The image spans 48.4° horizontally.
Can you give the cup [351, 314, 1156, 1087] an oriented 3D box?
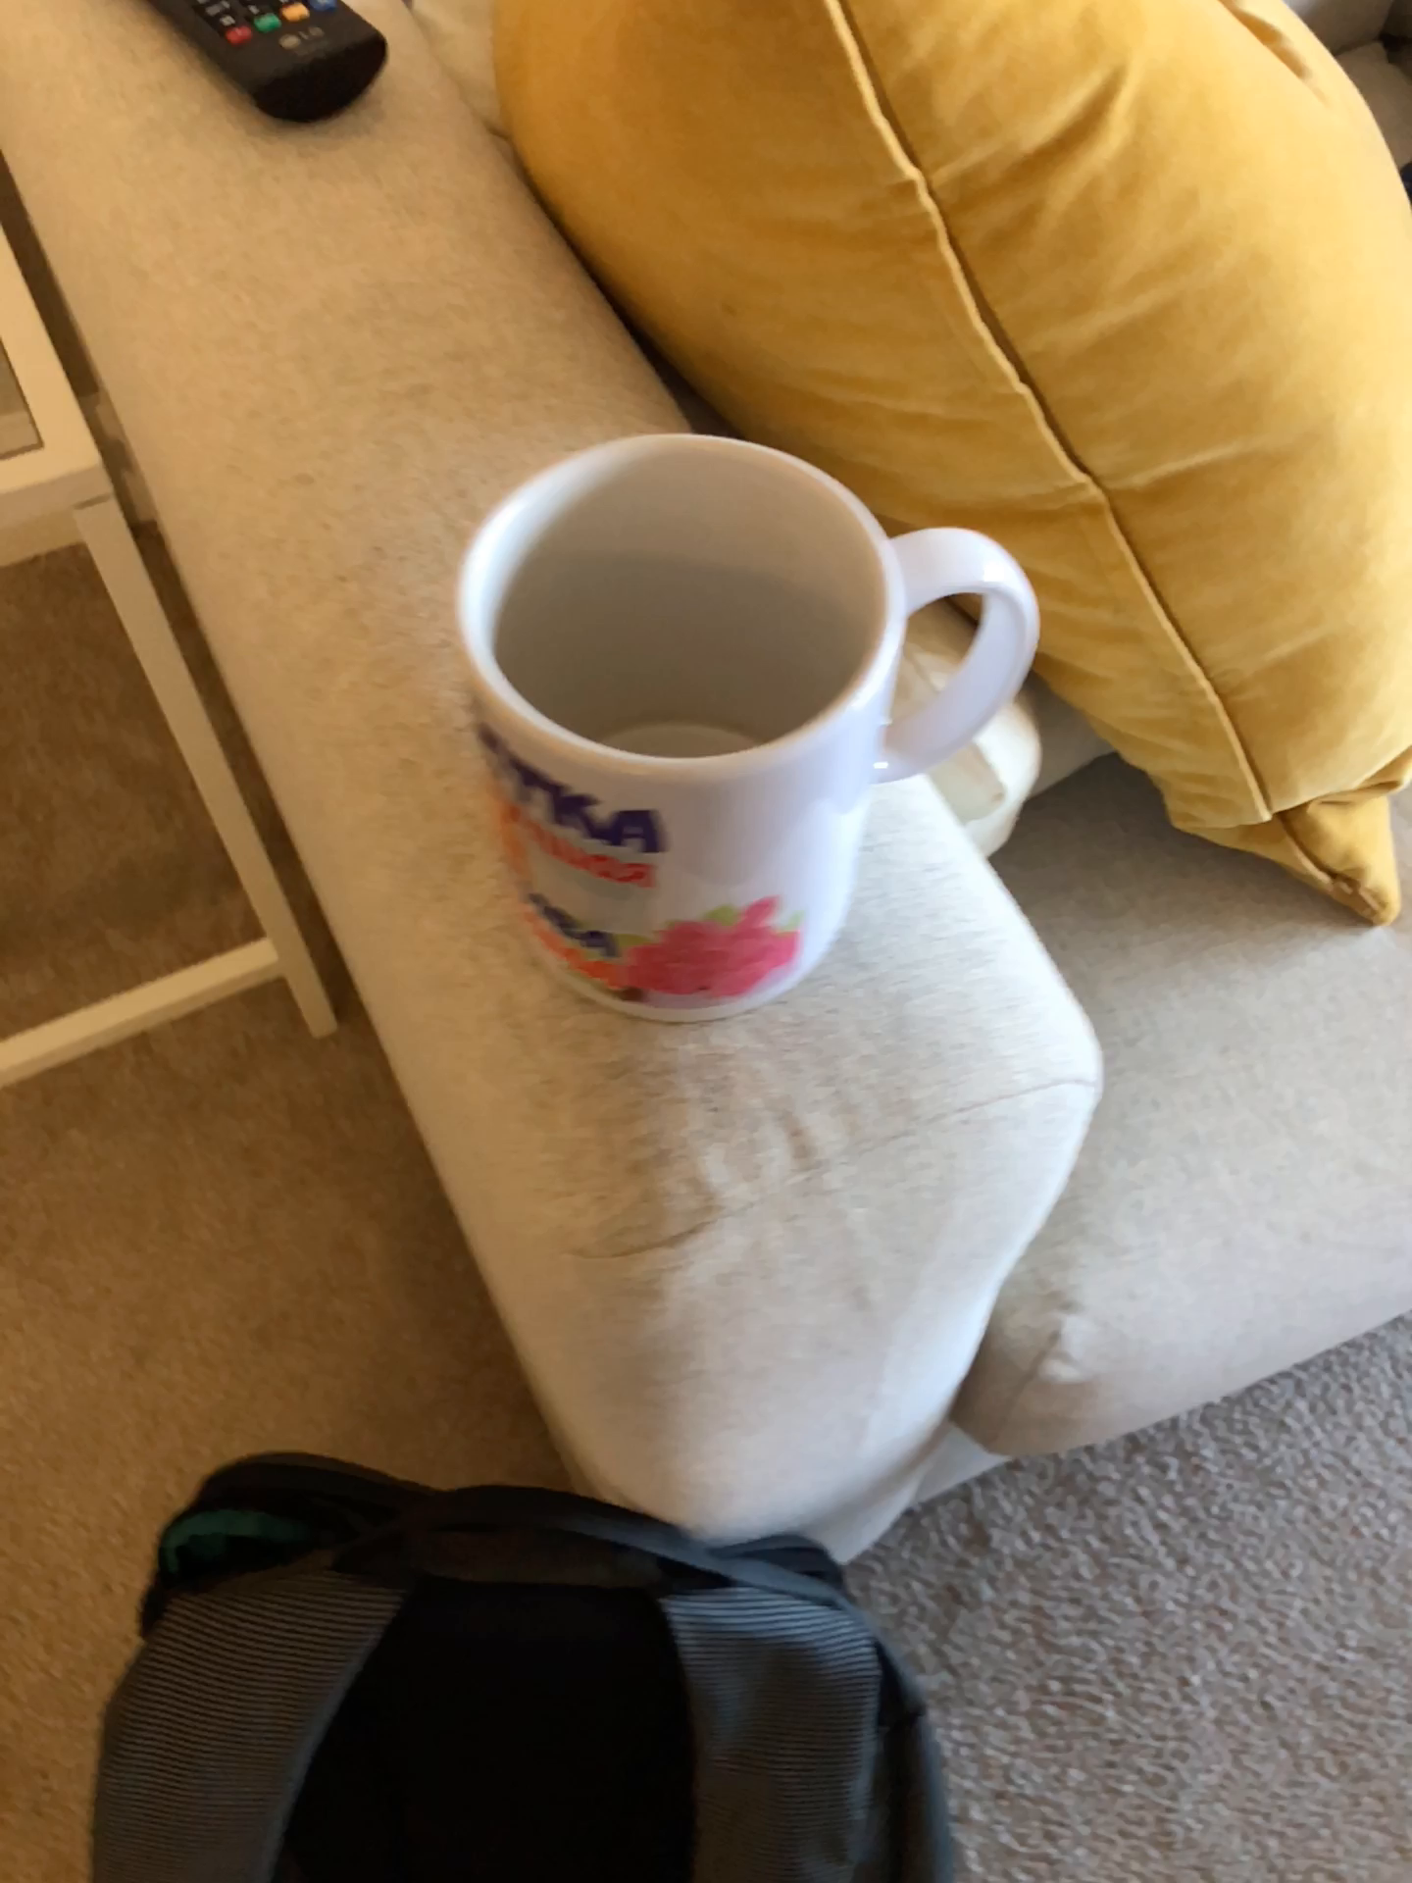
[{"bbox_3d":[0.006,-0.046,0.319,0.120,0.100,0.080,-19,61,-11],"label":"cup"}]
